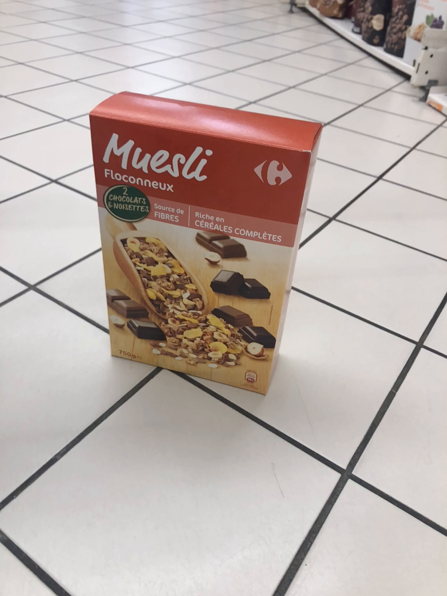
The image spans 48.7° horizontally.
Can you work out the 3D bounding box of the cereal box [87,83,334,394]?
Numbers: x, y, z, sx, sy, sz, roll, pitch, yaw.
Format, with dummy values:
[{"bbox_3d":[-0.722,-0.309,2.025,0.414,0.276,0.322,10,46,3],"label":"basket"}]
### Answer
[{"bbox_3d":[-0.016,-0.043,0.437,0.170,0.239,0.070,13,38,9],"label":"cereal box"}]
